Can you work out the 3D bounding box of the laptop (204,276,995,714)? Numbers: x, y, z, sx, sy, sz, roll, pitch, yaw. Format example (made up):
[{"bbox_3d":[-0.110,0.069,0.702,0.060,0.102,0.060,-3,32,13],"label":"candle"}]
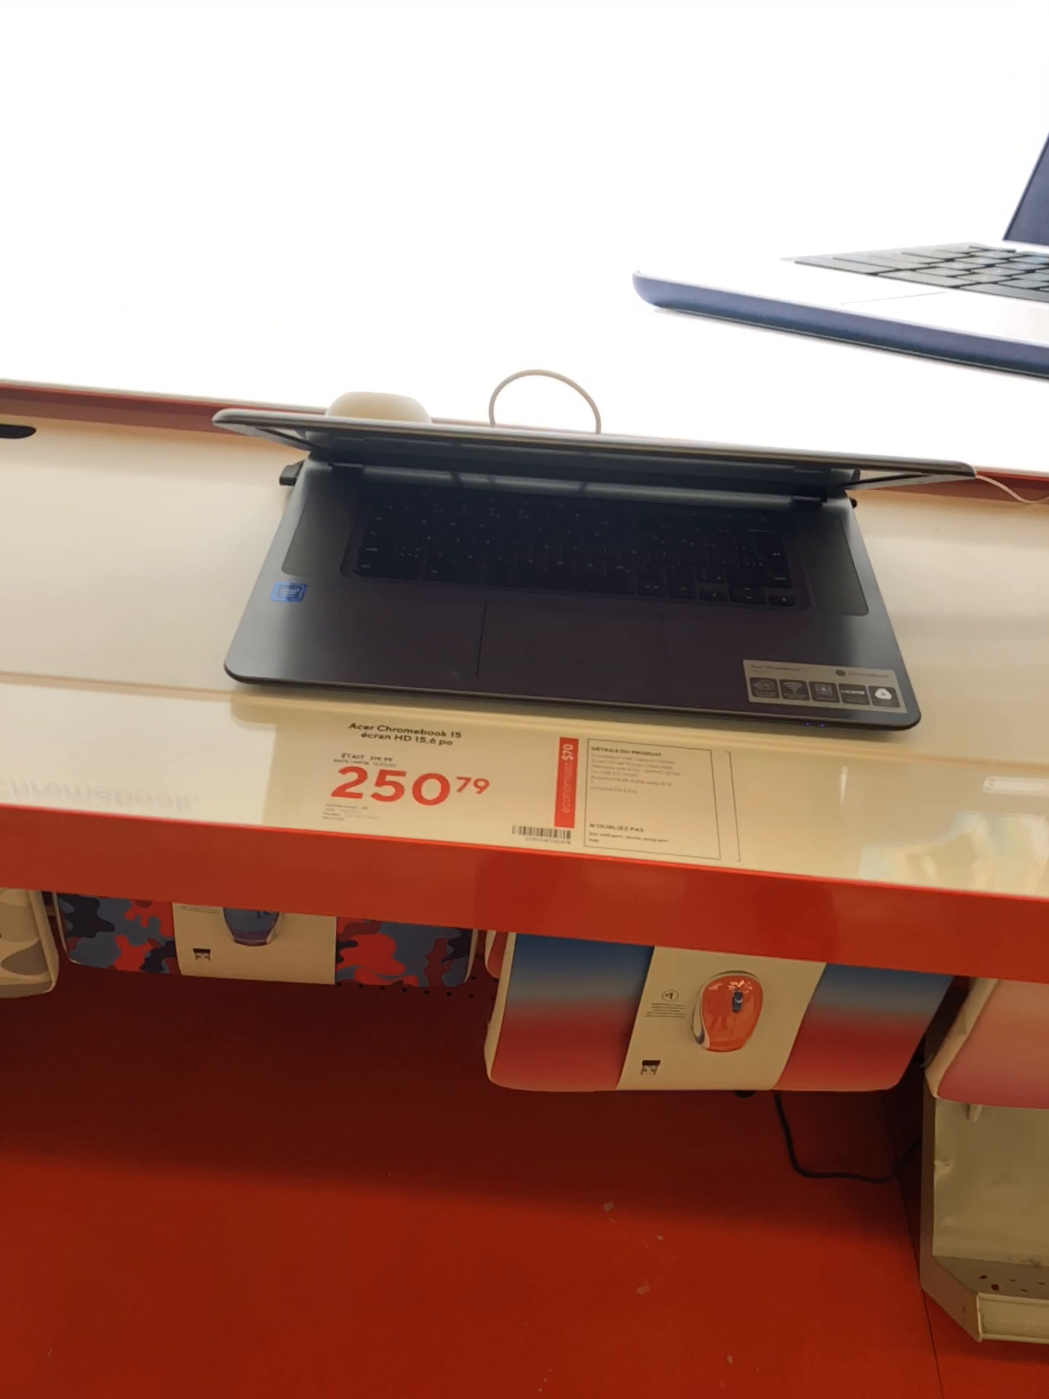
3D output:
[{"bbox_3d":[0.036,-0.127,0.656,0.363,0.122,0.238,4,39,0],"label":"laptop"}]
